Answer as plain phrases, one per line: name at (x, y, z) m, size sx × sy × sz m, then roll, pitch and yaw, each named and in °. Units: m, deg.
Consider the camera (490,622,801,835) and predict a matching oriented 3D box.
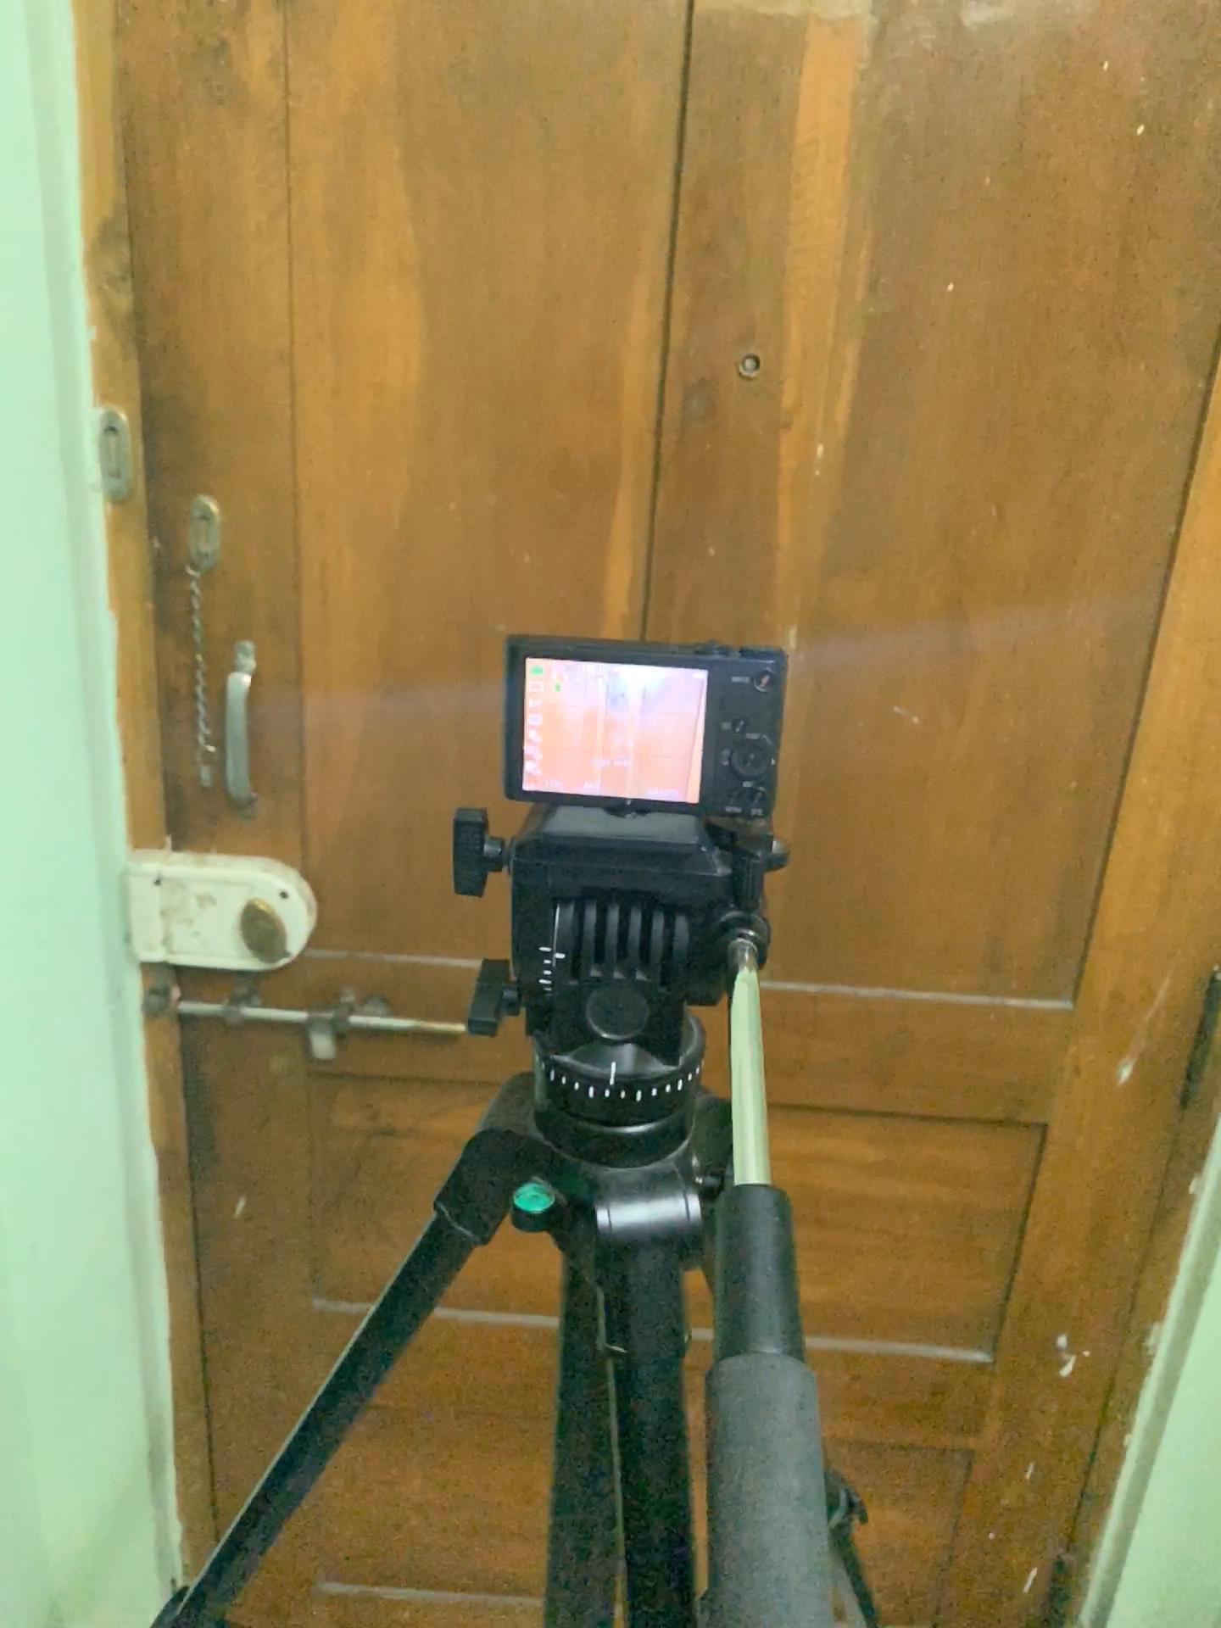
camera at (0.012, -0.031, 0.443) m, size 0.100 × 0.060 × 0.040 m, roll 5°, pitch 15°, yaw 4°
